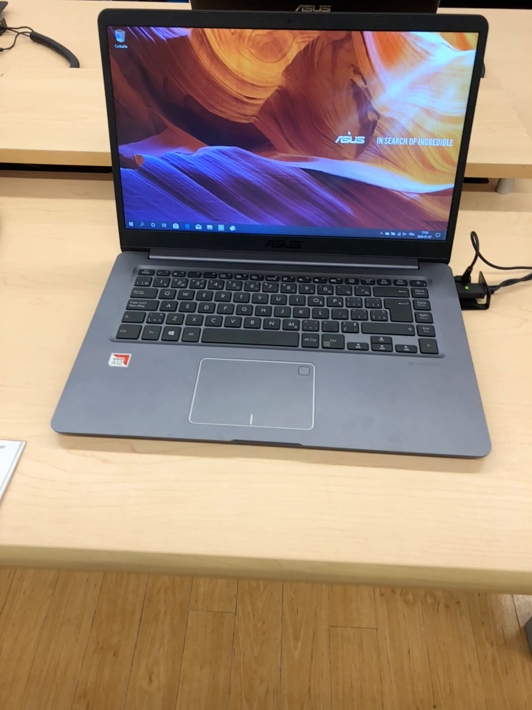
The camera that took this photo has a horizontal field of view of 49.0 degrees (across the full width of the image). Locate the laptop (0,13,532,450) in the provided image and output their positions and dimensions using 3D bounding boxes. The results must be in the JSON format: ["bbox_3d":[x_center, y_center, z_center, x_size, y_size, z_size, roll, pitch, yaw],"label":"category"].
[{"bbox_3d":[0.010,-0.123,0.518,0.361,0.223,0.319,3,47,3],"label":"laptop"}]
